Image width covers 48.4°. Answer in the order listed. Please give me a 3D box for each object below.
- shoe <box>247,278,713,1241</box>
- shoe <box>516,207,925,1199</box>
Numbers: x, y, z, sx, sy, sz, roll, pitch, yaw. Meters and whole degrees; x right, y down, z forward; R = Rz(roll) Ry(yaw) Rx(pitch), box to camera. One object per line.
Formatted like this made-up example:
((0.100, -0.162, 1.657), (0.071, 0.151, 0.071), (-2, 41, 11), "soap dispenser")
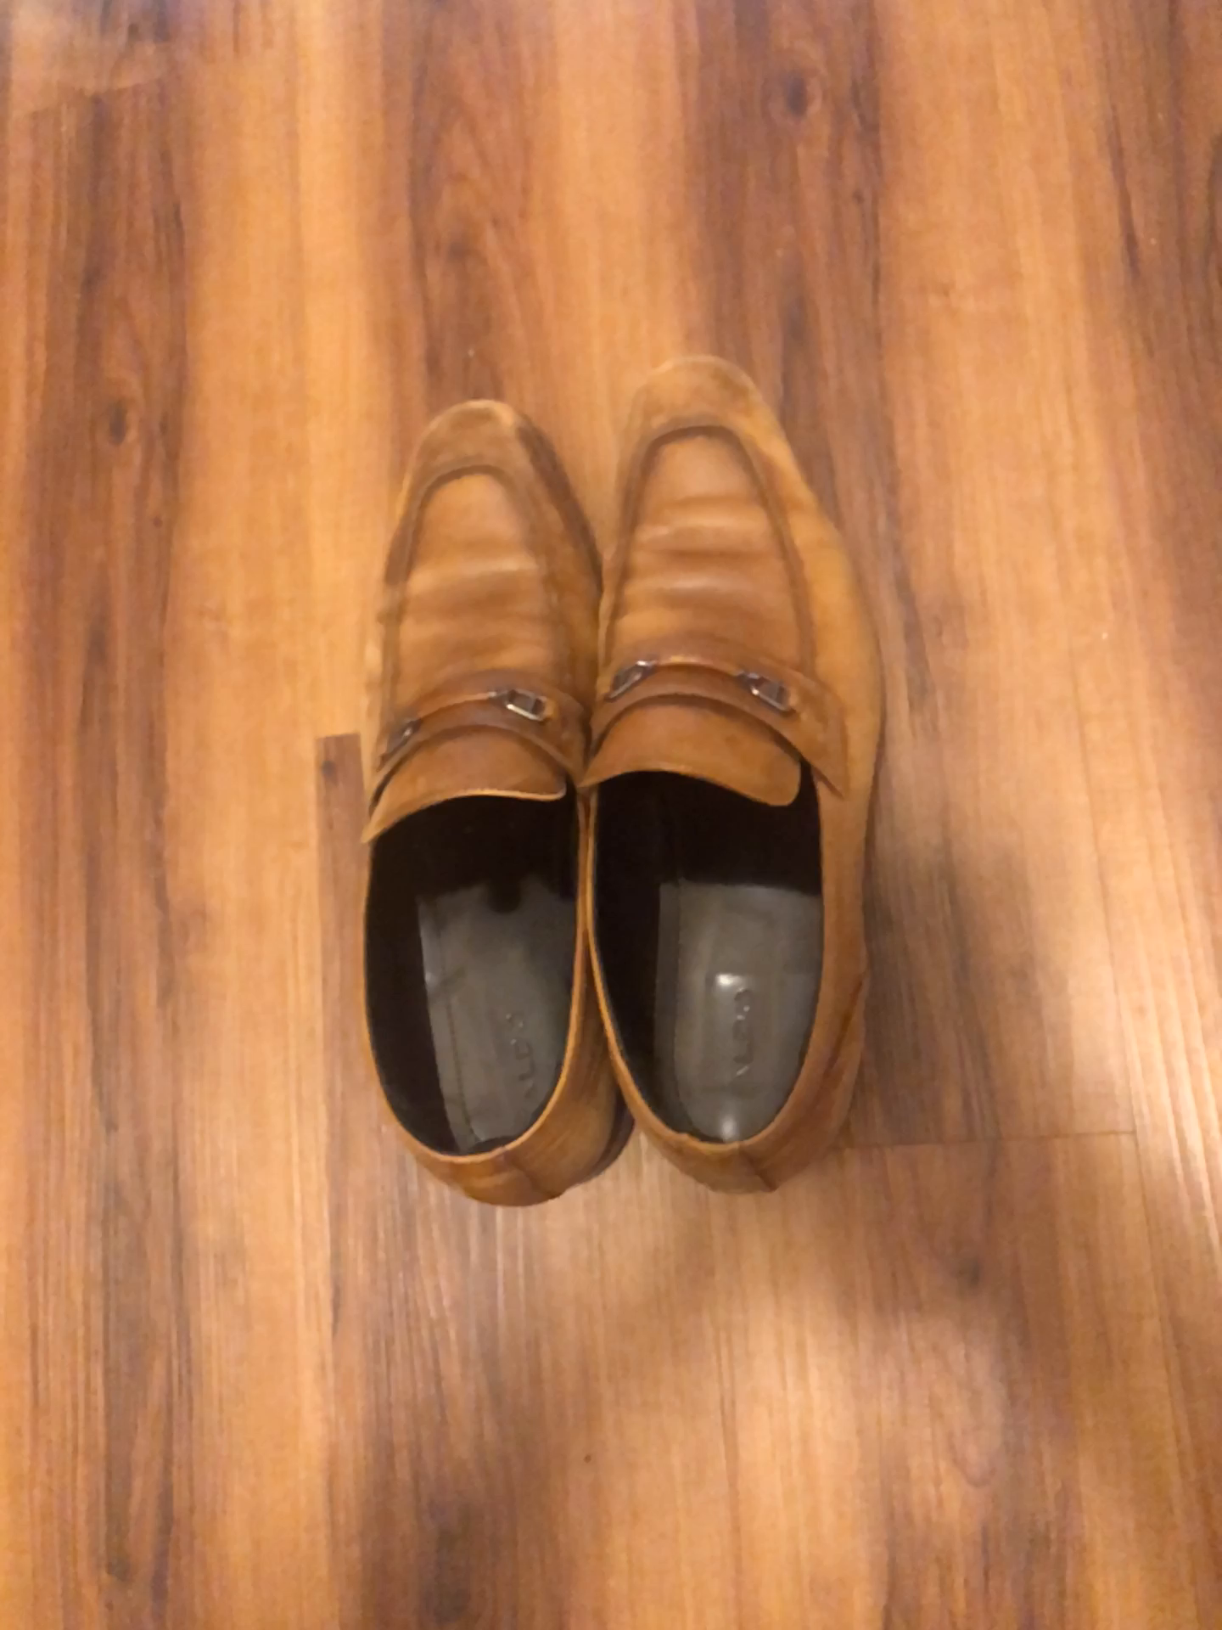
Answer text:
((-0.046, -0.016, 0.499), (0.106, 0.112, 0.308), (-10, 78, 13), "shoe")
((0.041, -0.031, 0.478), (0.106, 0.112, 0.308), (-5, 79, 14), "shoe")
